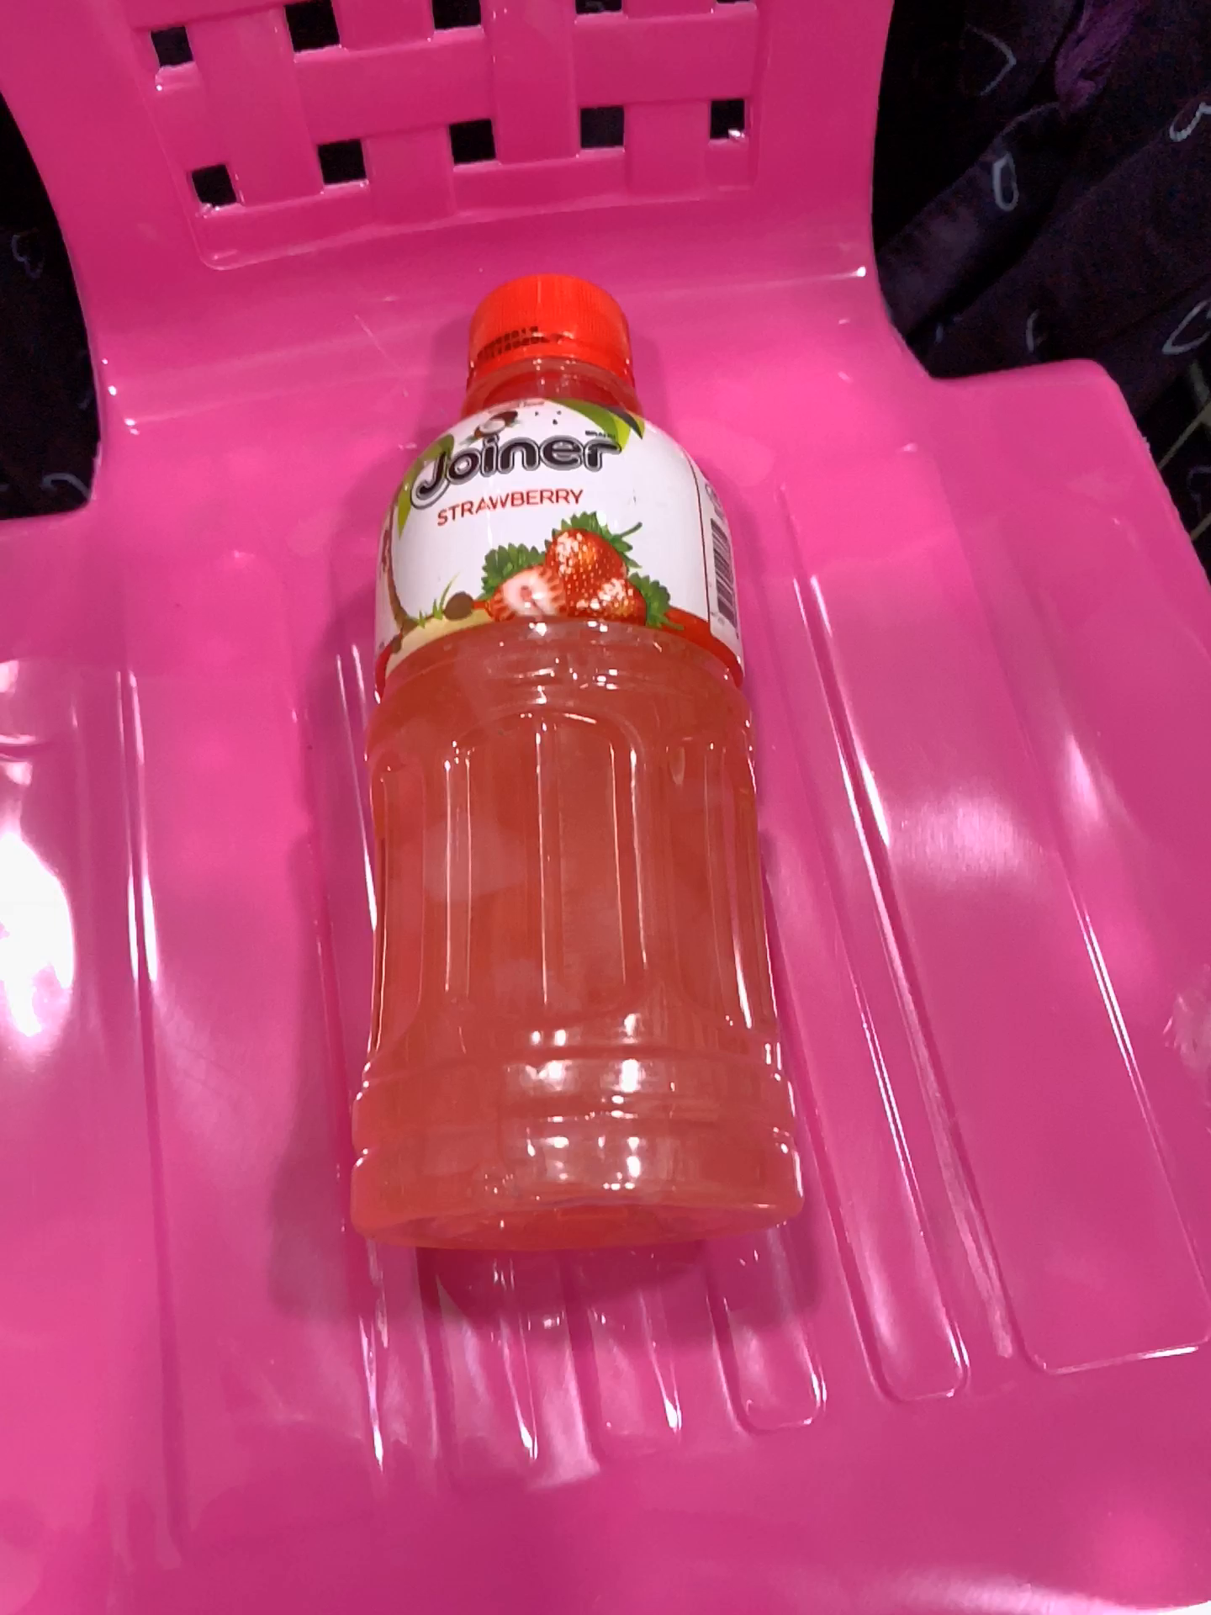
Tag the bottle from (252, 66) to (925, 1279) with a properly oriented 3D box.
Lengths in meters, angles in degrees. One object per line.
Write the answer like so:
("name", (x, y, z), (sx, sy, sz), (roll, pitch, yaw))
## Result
("bottle", (-0.007, -0.018, 0.189), (0.070, 0.070, 0.160), (-2, 72, -3))
